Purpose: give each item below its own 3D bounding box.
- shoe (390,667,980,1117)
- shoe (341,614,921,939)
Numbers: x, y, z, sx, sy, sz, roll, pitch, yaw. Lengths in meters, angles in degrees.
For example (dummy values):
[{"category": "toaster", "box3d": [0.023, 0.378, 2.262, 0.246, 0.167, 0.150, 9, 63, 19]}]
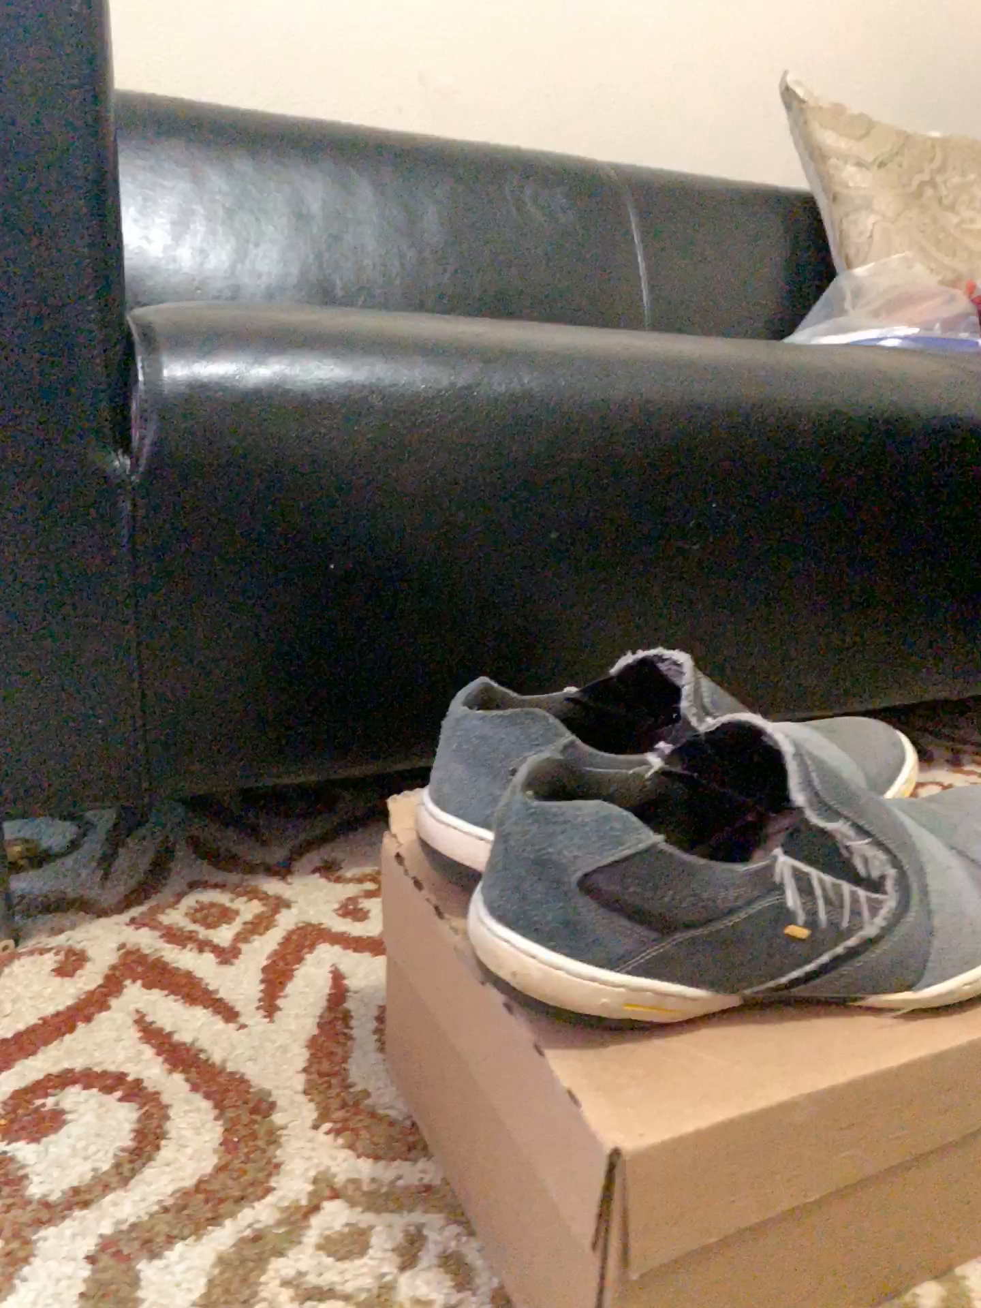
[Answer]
[{"category": "shoe", "box3d": [0.101, 0.081, 0.430, 0.260, 0.100, 0.140, -3, 17, -19]}, {"category": "shoe", "box3d": [0.064, 0.050, 0.530, 0.260, 0.100, 0.140, -3, 17, -19]}]
